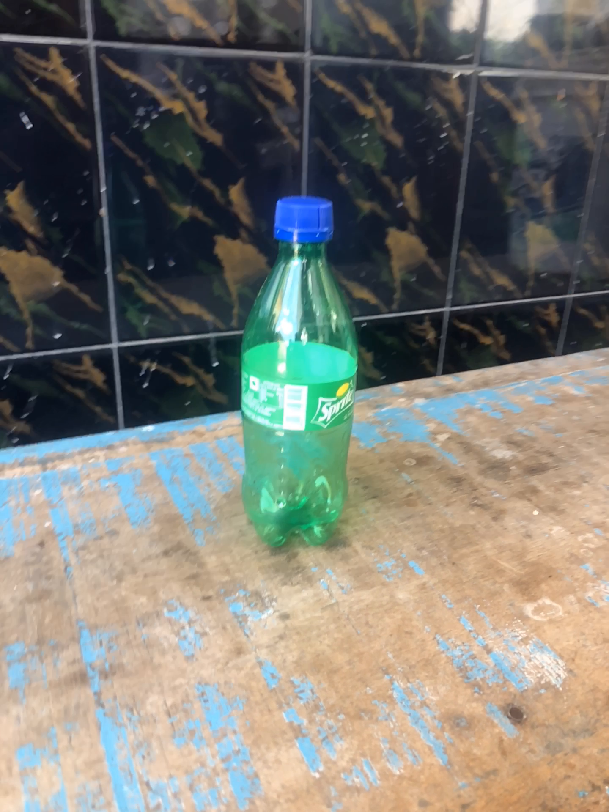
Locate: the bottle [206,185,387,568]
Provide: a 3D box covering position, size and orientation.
[{"bbox_3d":[-0.005,-0.015,0.314,0.050,0.159,0.060,17,28,31],"label":"bottle"}]
